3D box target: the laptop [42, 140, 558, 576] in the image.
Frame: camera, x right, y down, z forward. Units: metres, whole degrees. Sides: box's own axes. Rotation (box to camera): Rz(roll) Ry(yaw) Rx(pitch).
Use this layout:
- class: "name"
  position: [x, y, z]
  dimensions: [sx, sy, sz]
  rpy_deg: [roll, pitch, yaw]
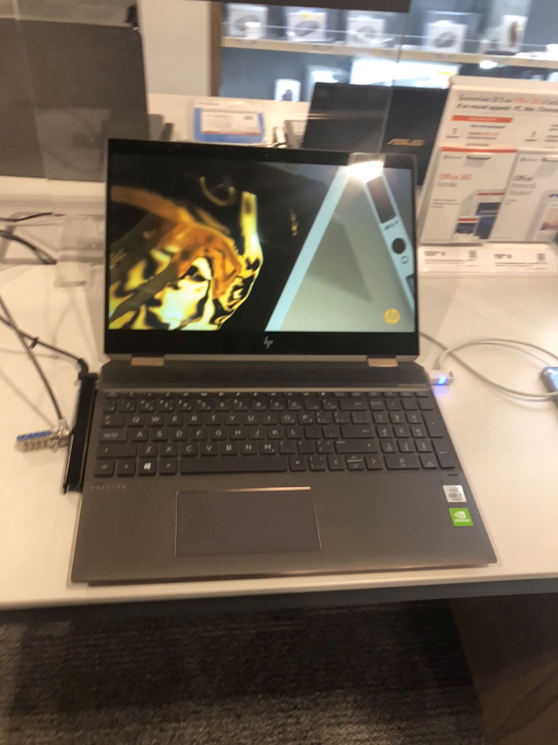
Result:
- class: "laptop"
  position: [-0.003, -0.047, 0.585]
  dimensions: [0.333, 0.145, 0.427]
  rpy_deg: [0, 46, -6]
